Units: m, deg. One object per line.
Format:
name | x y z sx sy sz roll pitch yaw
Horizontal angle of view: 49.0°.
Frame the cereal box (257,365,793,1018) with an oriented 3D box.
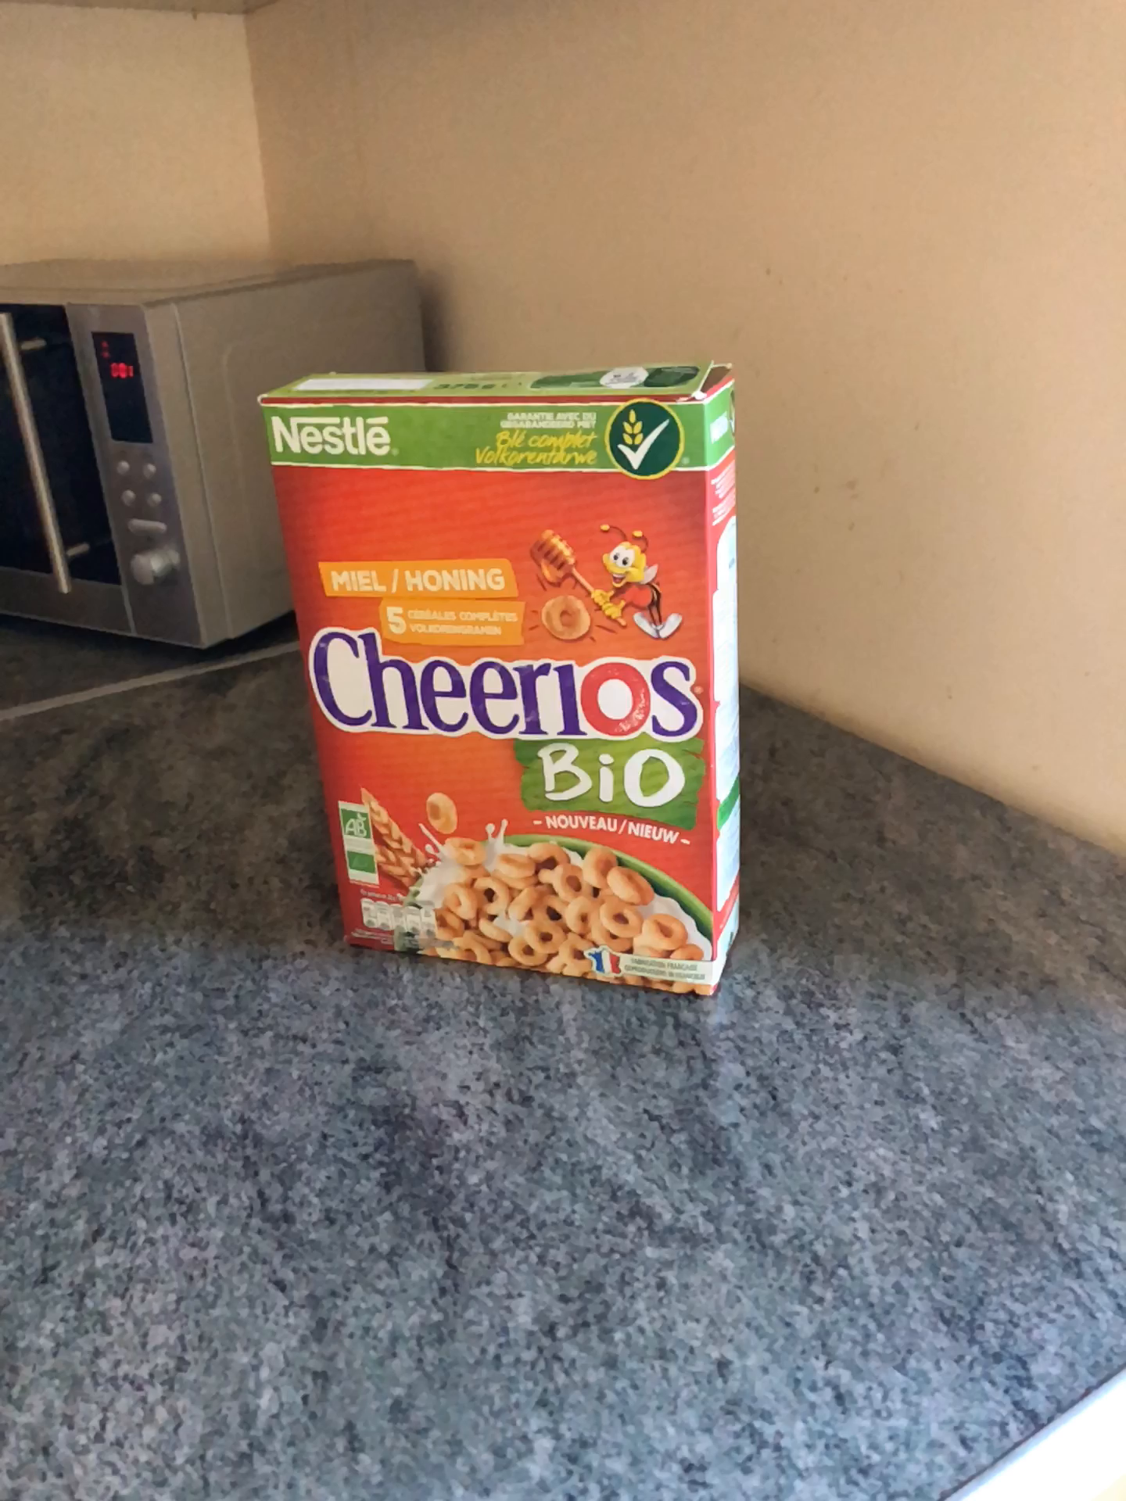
cereal box | -0.007 -0.029 0.545 0.200 0.259 0.080 5 24 19
